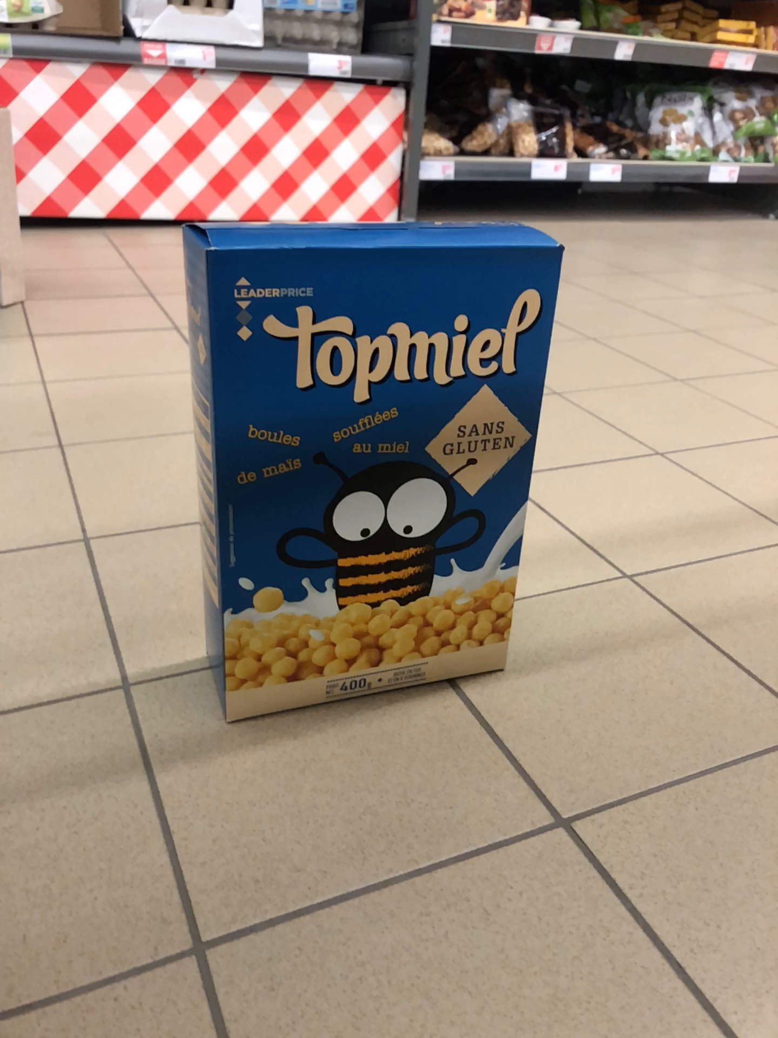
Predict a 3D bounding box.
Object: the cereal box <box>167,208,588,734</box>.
[{"bbox_3d":[-0.013,-0.028,0.501,0.200,0.278,0.080,-7,29,-20],"label":"cereal box"}]
